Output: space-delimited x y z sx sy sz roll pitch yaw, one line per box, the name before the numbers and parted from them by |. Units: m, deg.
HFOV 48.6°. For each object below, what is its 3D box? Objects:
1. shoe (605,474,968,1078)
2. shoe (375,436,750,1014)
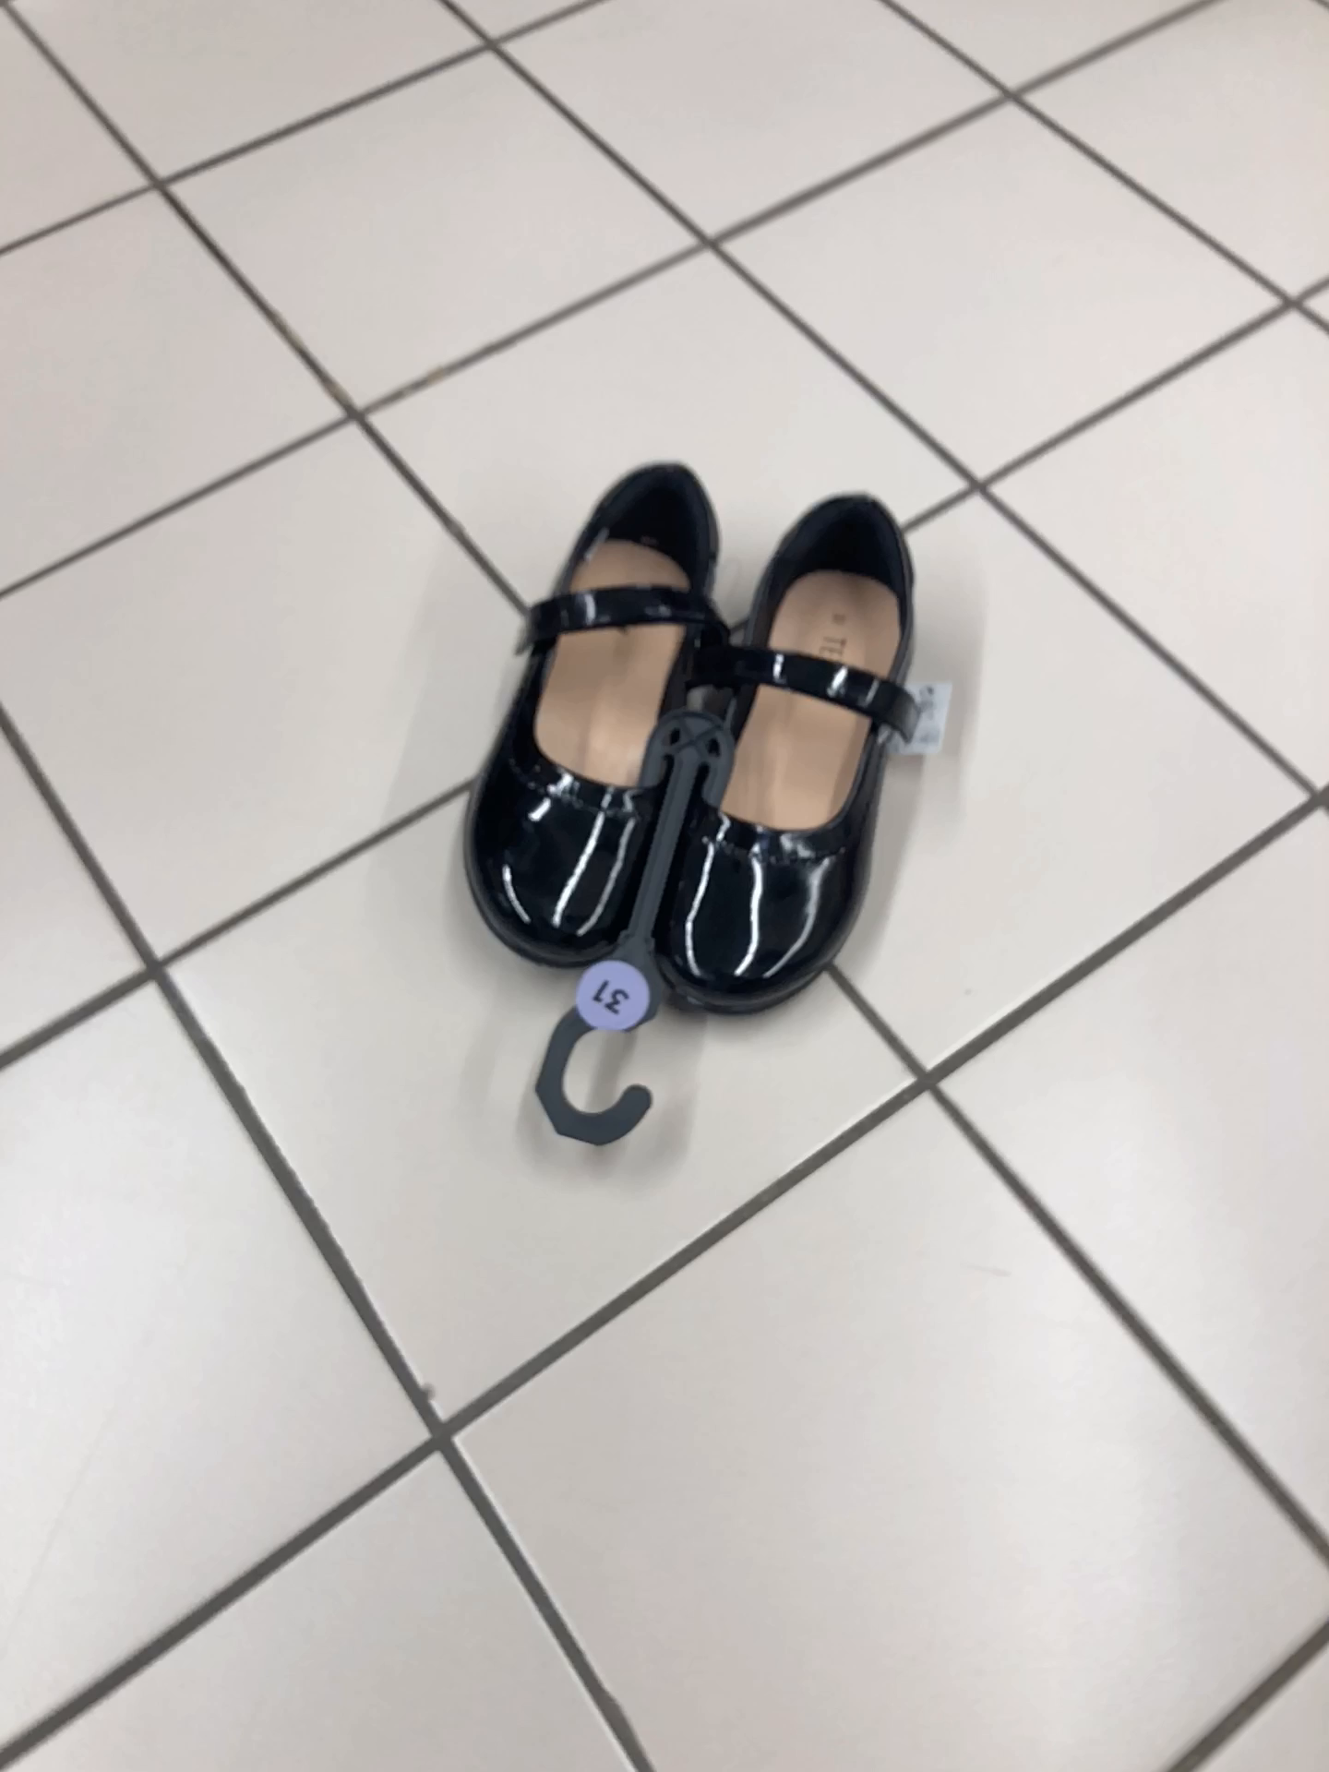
shoe | 0.048 -0.046 0.528 0.079 0.052 0.211 13 62 8
shoe | -0.030 -0.064 0.537 0.079 0.056 0.205 12 62 7
